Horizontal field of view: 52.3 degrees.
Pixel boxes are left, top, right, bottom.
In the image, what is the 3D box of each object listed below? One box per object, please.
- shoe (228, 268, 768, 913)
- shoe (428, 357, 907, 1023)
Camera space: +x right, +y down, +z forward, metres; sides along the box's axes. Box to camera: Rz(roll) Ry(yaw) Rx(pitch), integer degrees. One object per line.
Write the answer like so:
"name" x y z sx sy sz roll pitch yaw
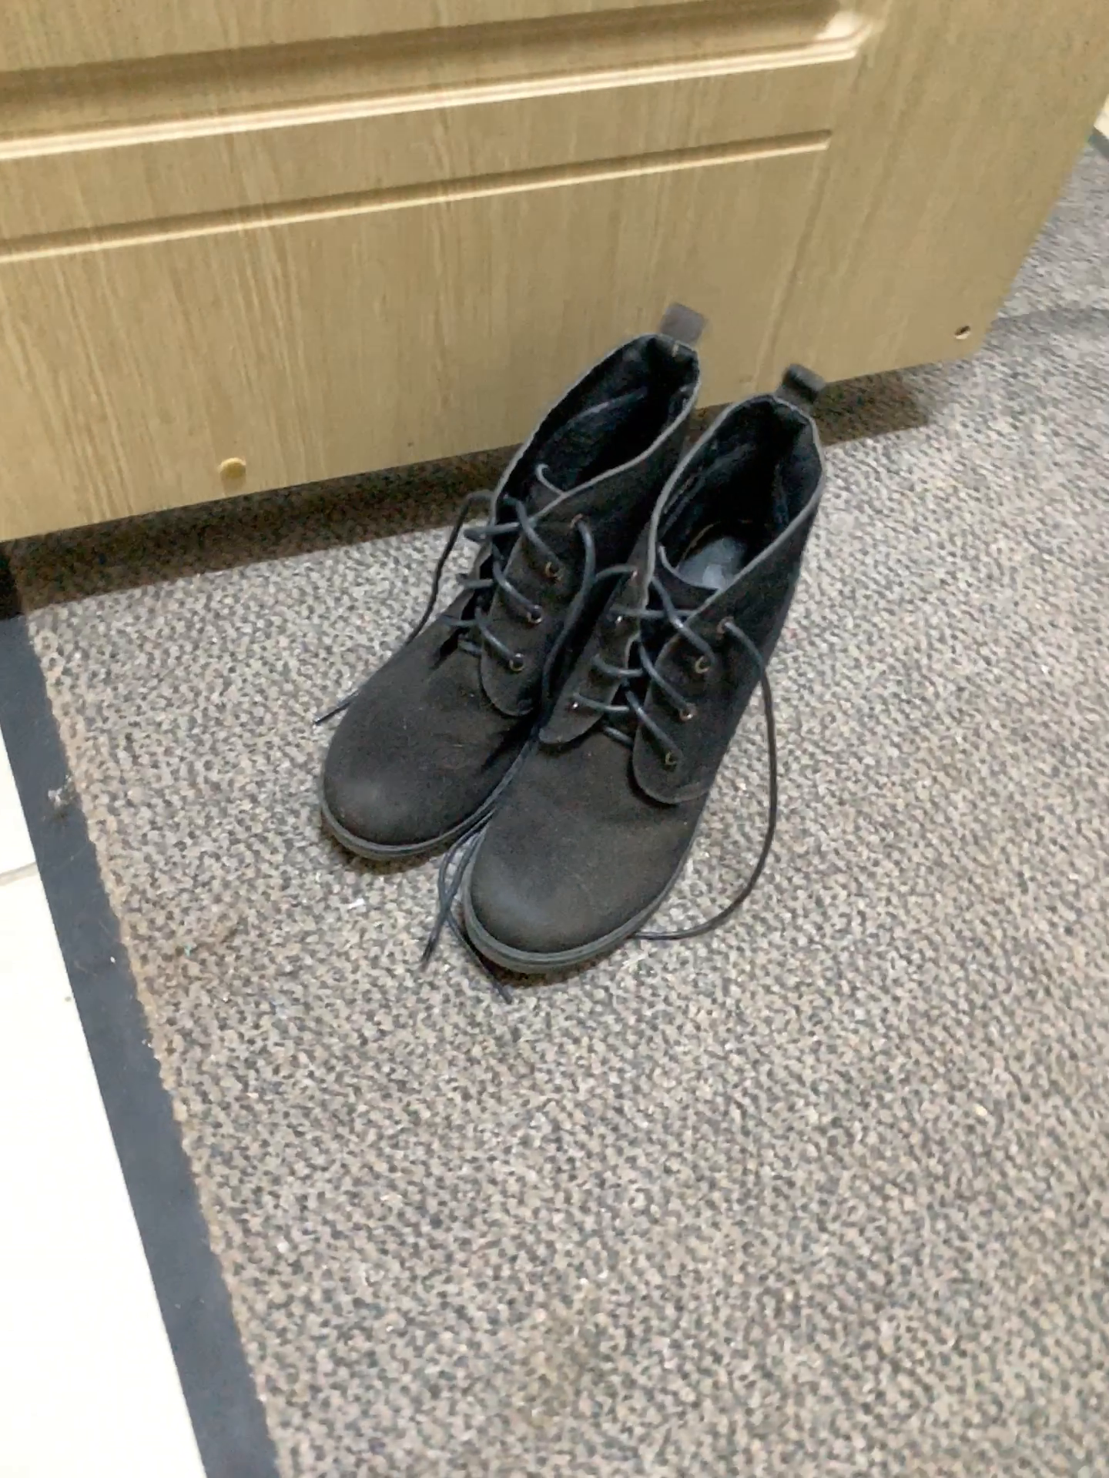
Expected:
"shoe" -0.018 -0.062 0.492 0.080 0.160 0.230 34 63 13
"shoe" 0.044 -0.019 0.483 0.080 0.160 0.230 29 62 11
